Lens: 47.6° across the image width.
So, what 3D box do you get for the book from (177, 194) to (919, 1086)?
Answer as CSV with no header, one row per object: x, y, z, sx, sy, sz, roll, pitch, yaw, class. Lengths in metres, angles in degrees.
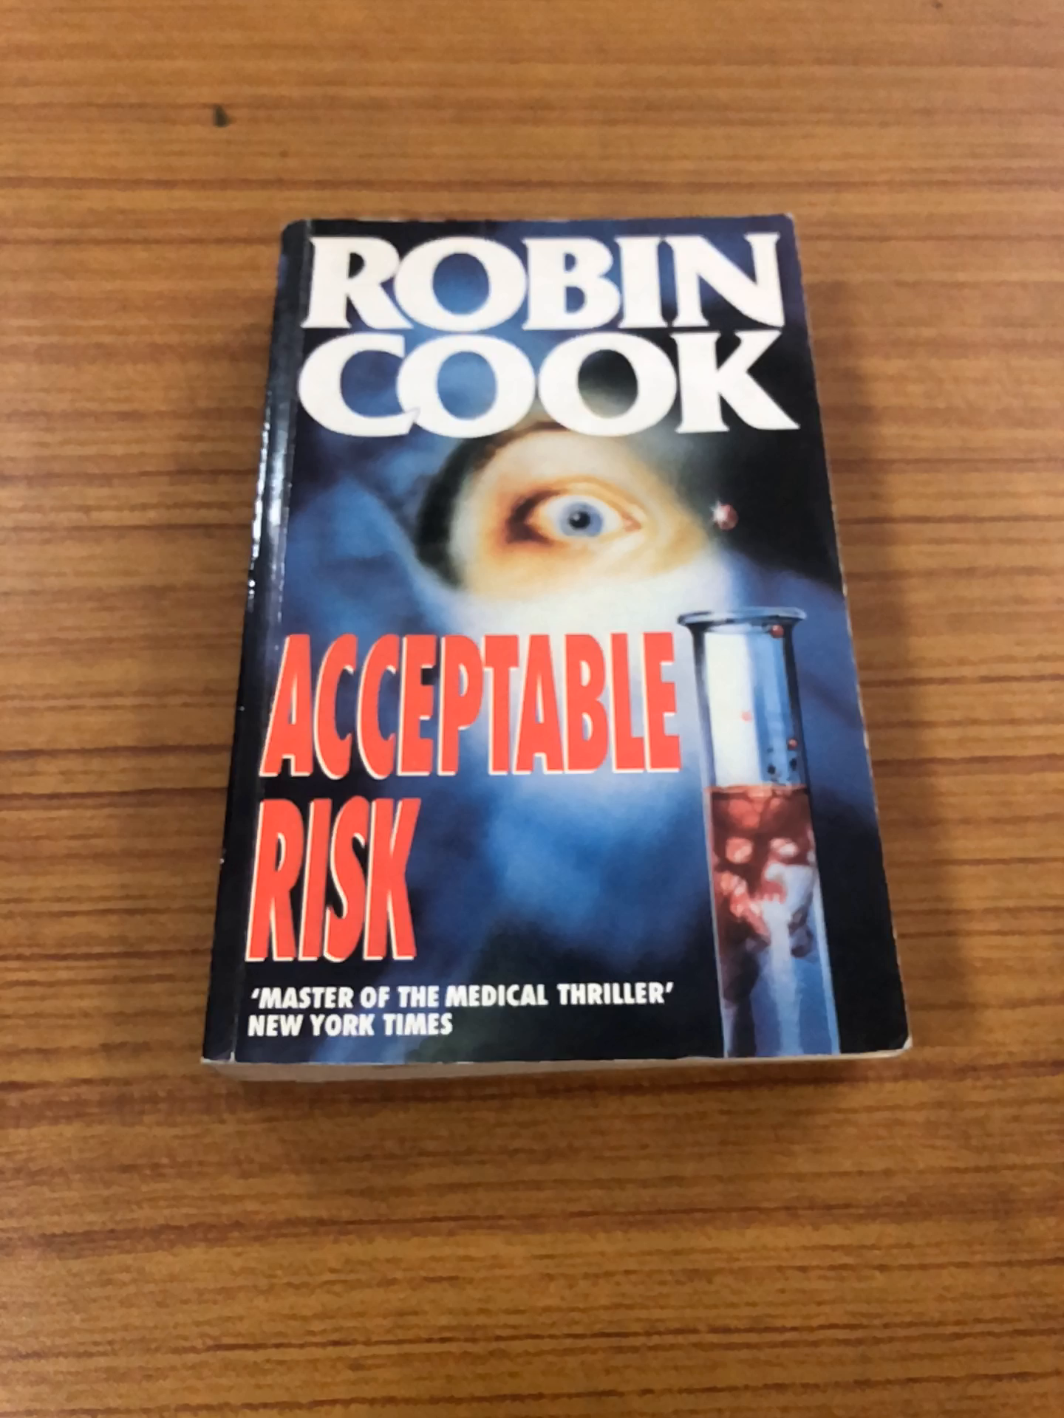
0.002,-0.019,0.231,0.110,0.040,0.170,0,66,-1,book
